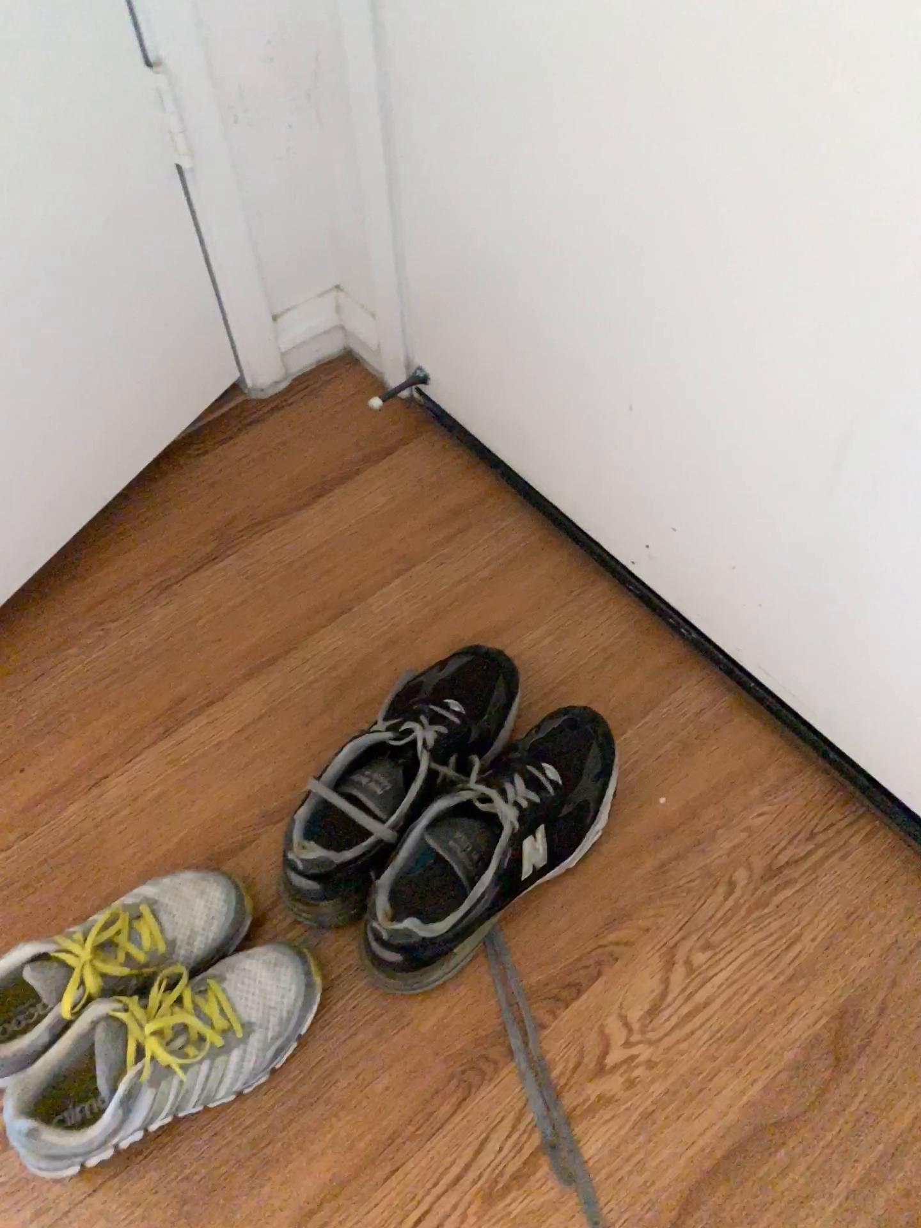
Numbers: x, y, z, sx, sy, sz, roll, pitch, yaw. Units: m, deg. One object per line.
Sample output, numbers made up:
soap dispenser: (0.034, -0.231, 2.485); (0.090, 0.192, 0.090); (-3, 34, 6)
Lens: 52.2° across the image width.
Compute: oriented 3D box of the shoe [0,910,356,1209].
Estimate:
shoe: (-0.224, 0.363, 0.783); (0.250, 0.170, 0.090); (-27, 69, -14)

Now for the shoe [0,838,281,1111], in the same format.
shoe: (-0.293, 0.296, 0.772); (0.260, 0.170, 0.070); (-27, 69, -14)

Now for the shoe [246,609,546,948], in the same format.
shoe: (-0.056, 0.167, 0.958); (0.100, 0.169, 0.310); (37, 65, 17)

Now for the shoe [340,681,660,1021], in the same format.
shoe: (0.038, 0.227, 0.899); (0.300, 0.169, 0.100); (-40, 70, -21)
